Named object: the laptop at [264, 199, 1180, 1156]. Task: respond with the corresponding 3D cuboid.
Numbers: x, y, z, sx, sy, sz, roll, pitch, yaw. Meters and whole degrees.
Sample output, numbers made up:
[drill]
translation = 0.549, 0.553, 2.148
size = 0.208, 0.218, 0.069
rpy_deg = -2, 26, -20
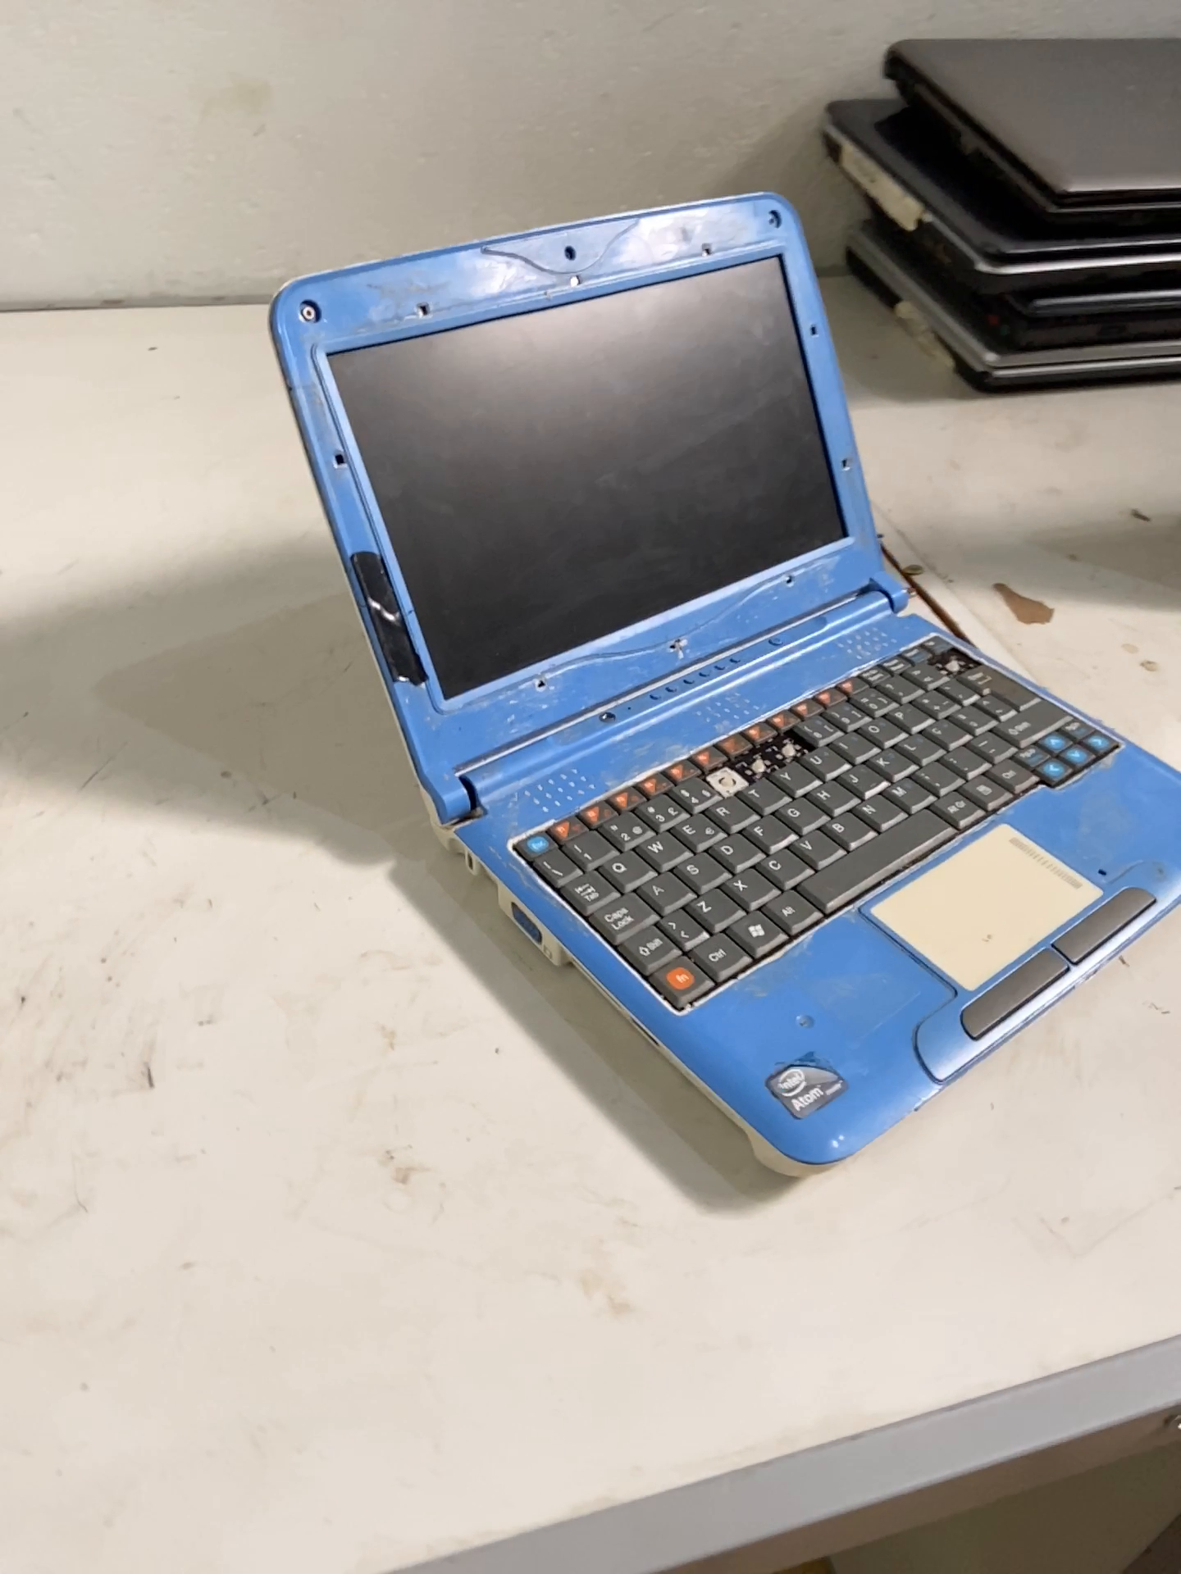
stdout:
[laptop]
translation = 0.073, -0.074, 0.432
size = 0.241, 0.149, 0.287
rpy_deg = -26, 51, -31
